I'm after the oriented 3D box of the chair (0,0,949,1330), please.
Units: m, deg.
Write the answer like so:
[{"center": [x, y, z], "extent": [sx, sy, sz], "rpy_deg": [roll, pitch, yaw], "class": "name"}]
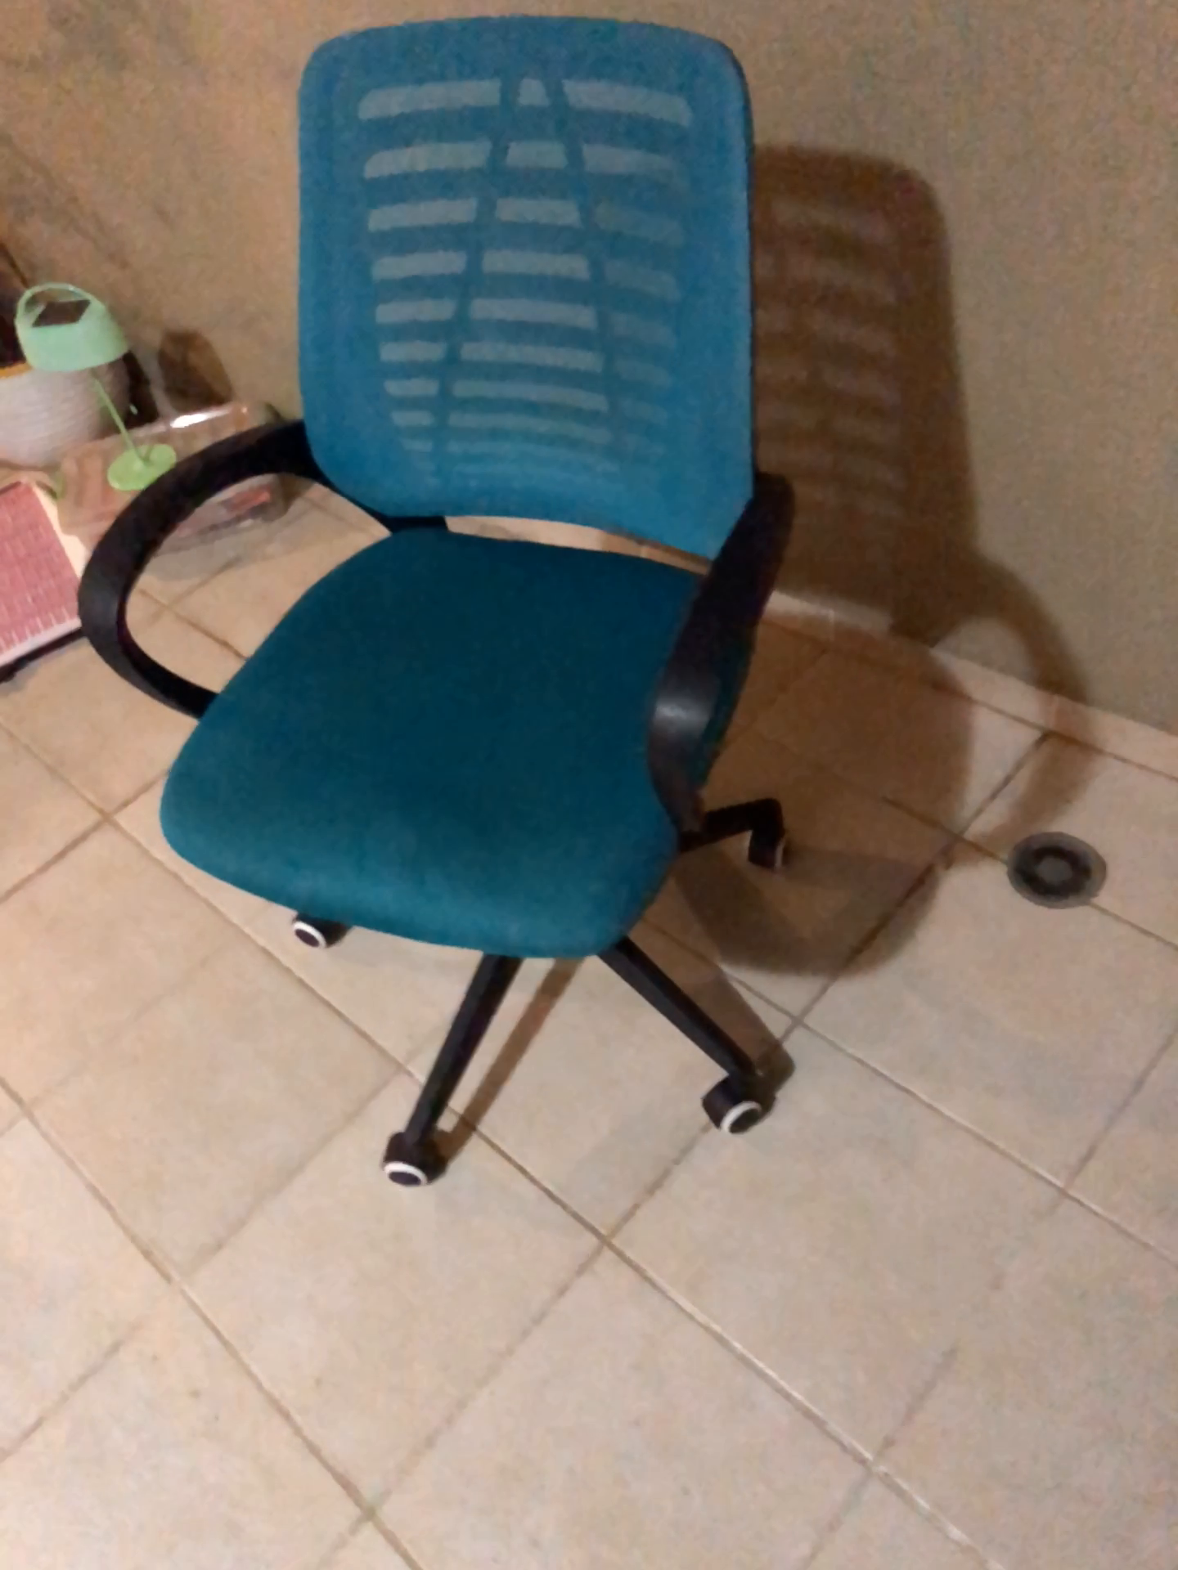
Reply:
[{"center": [-0.113, -0.120, 1.257], "extent": [0.711, 0.924, 0.744], "rpy_deg": [13, 53, 23], "class": "chair"}]
